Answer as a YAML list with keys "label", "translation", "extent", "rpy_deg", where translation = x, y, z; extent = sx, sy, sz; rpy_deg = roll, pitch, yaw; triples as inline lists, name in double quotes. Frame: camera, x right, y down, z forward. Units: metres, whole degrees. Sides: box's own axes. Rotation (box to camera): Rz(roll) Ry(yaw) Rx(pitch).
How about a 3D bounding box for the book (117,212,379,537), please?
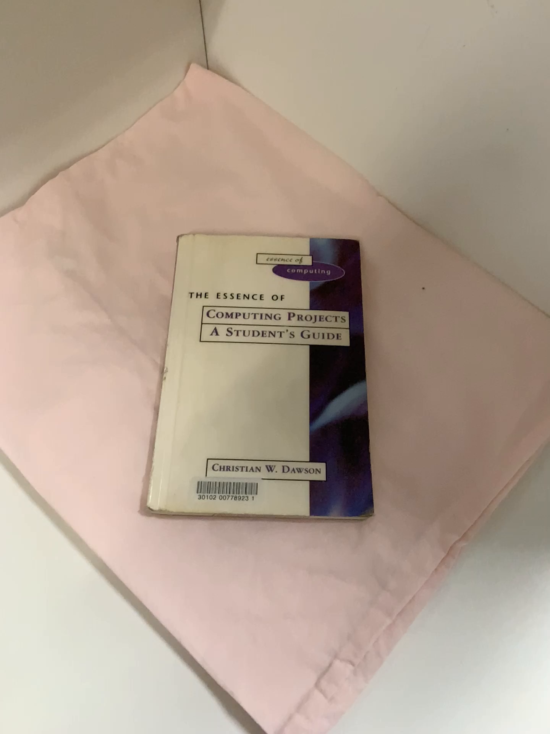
- label: "book"
  translation: [-0.015, -0.008, 0.432]
  extent: [0.170, 0.020, 0.261]
  rpy_deg: [1, 64, 1]
